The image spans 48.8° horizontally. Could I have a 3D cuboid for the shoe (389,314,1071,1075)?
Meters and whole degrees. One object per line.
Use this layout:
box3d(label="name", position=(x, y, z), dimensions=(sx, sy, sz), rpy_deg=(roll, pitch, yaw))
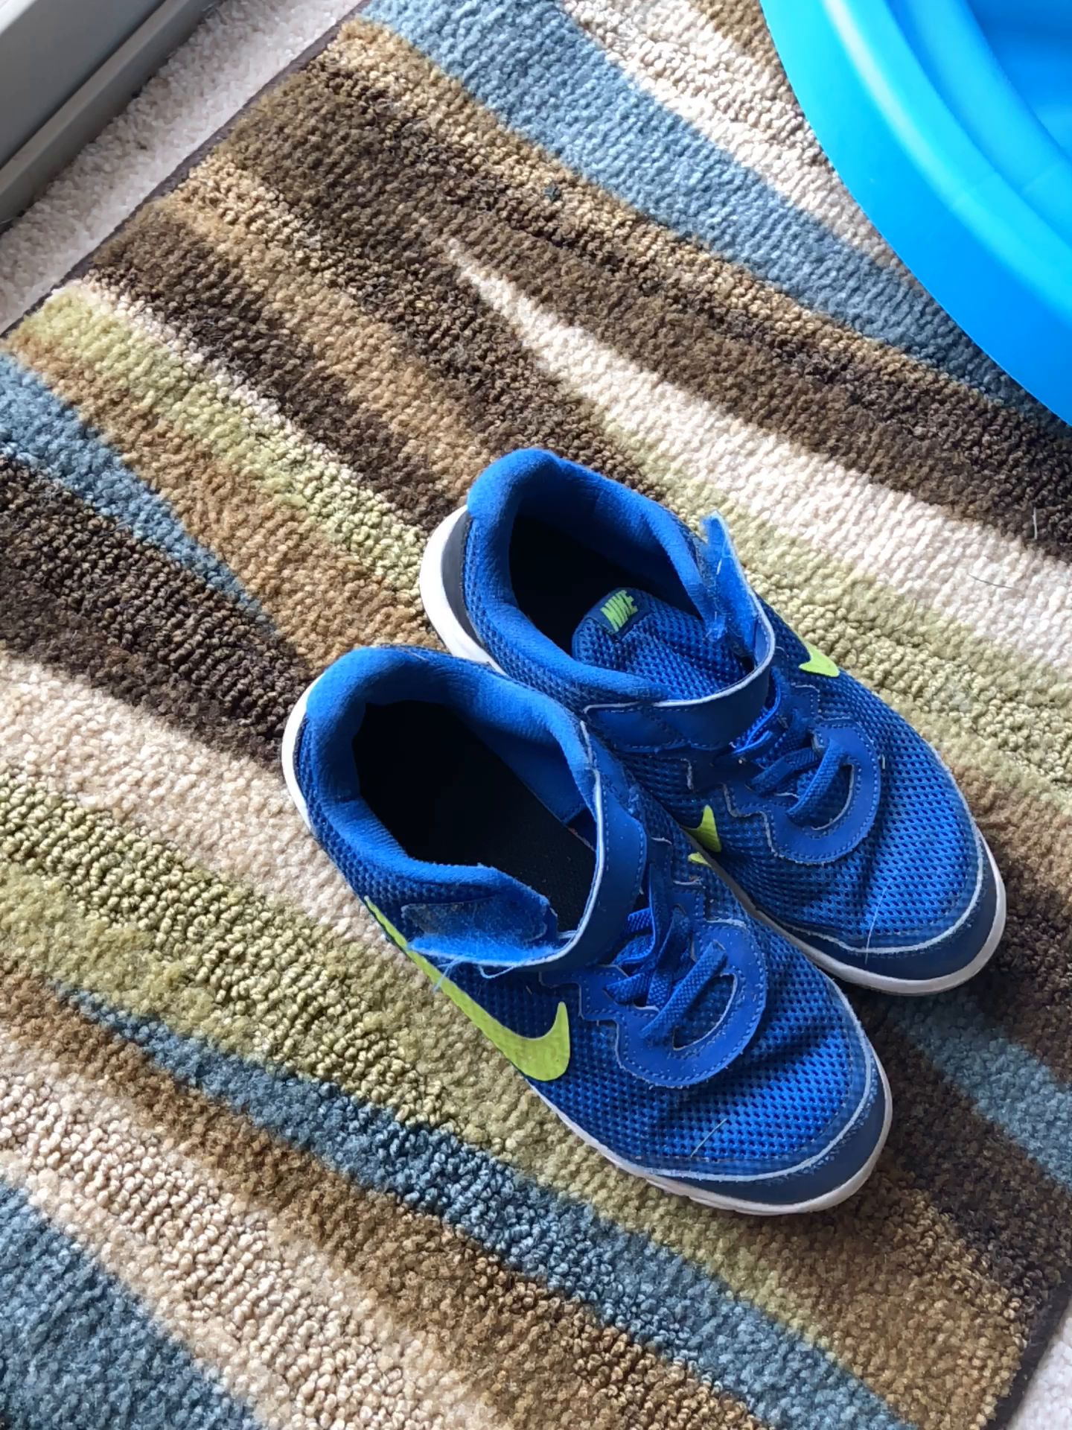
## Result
box3d(label="shoe", position=(0.076, -0.003, 0.376), dimensions=(0.230, 0.075, 0.104), rpy_deg=(39, 73, 4))

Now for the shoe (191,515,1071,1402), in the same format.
box3d(label="shoe", position=(0.024, 0.066, 0.351), dimensions=(0.233, 0.075, 0.102), rpy_deg=(42, 73, 4))
